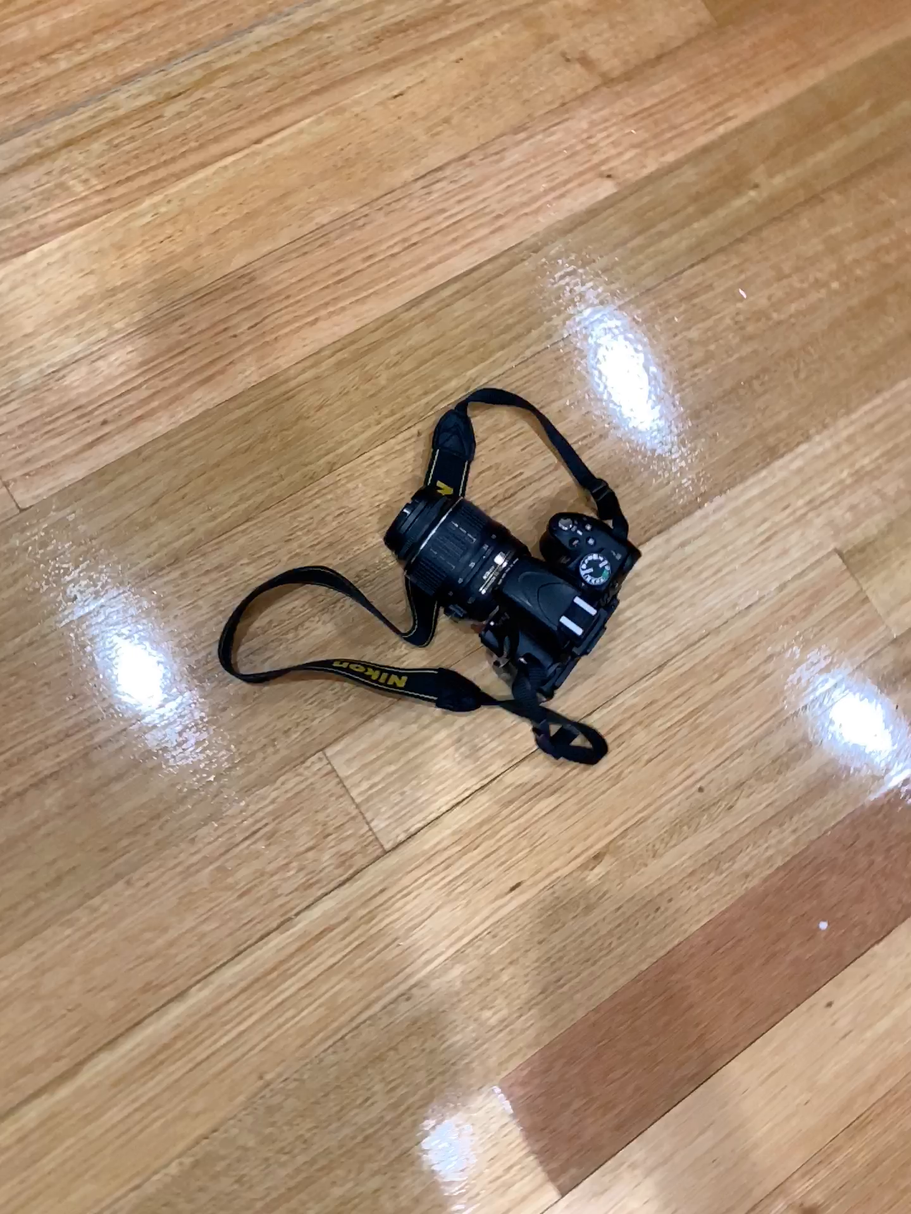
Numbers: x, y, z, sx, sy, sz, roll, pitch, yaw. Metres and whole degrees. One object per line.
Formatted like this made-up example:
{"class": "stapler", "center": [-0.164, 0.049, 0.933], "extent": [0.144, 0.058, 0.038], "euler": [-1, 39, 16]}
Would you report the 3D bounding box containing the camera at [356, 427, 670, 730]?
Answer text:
{"class": "camera", "center": [0.035, -0.014, 0.653], "extent": [0.160, 0.100, 0.130], "euler": [33, 78, -1]}
